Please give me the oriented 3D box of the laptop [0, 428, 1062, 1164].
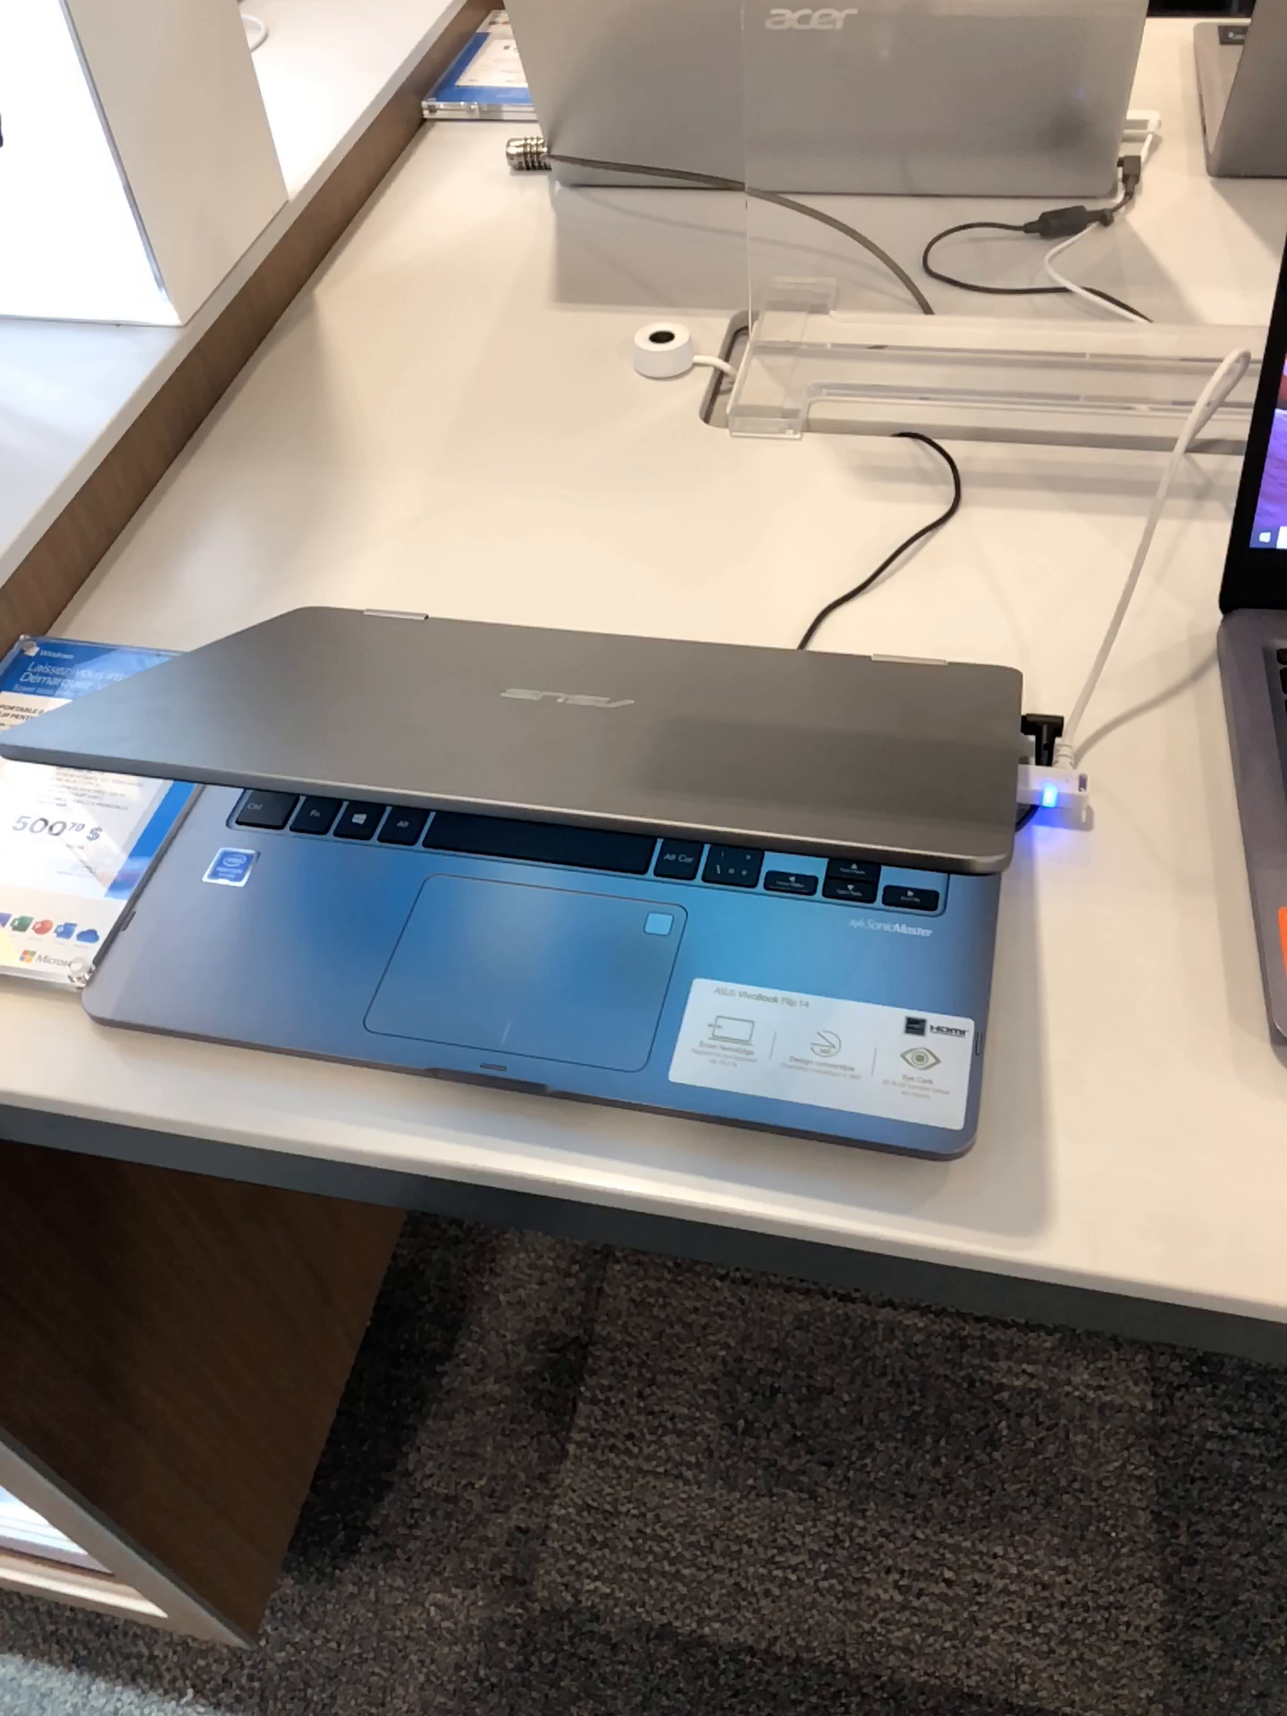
[{"bbox_3d":[-0.030,-0.039,0.503,0.322,0.105,0.215,7,50,13],"label":"laptop"}]
